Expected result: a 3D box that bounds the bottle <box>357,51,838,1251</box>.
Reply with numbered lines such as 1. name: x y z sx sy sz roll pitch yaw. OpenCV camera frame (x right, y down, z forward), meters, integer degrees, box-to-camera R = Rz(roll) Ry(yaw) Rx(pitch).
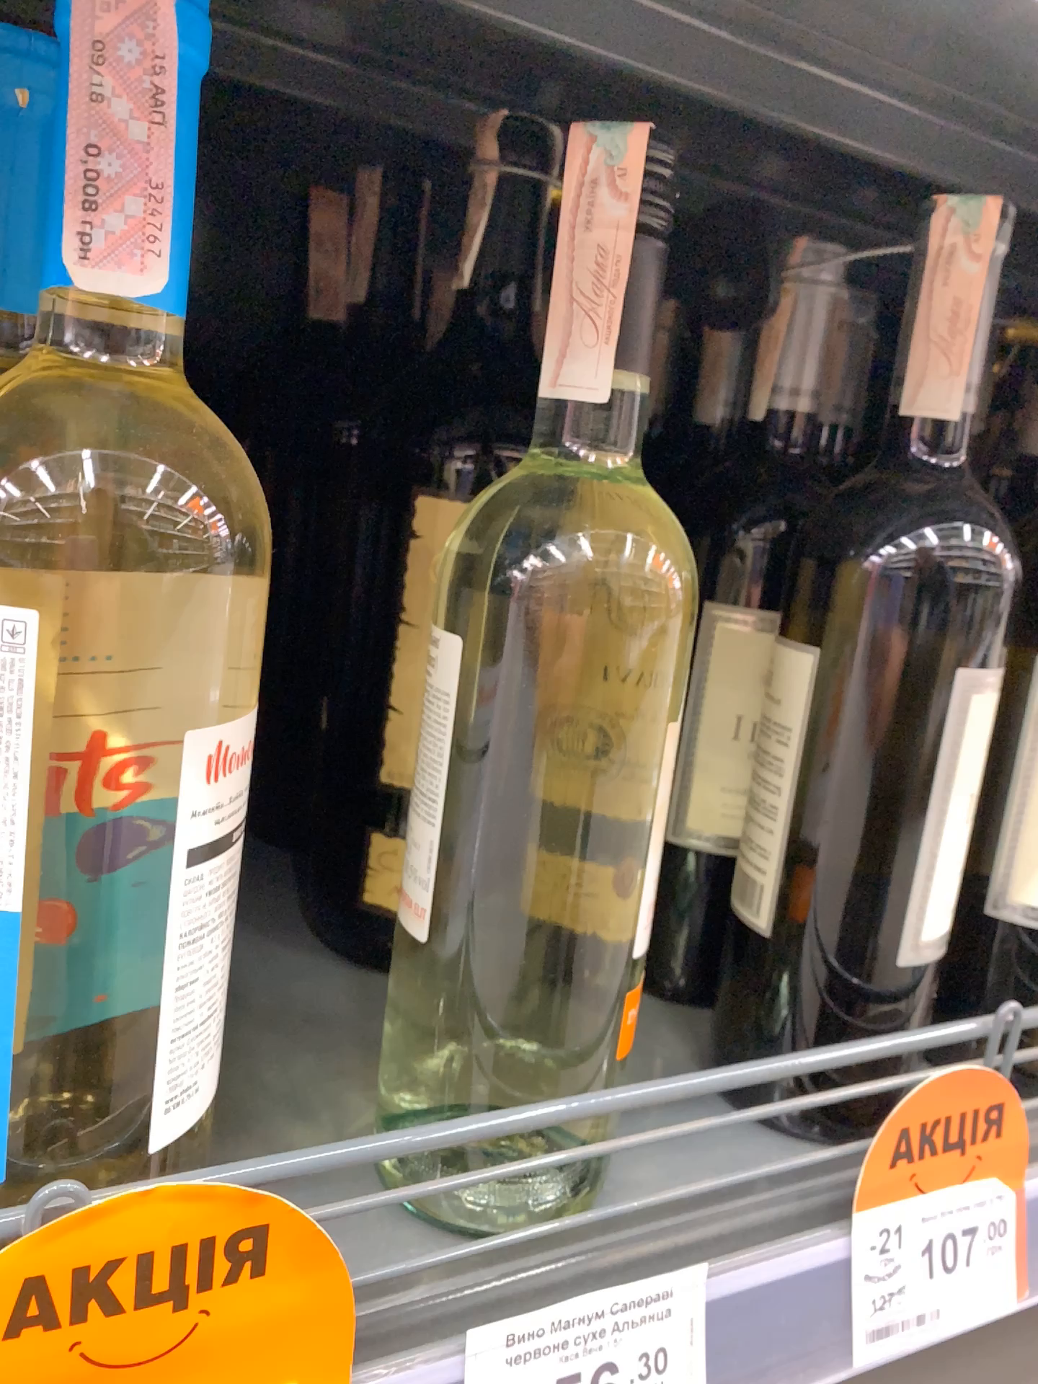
1. bottle: 0.009 0.002 0.300 0.070 0.294 0.070 8 12 -2
